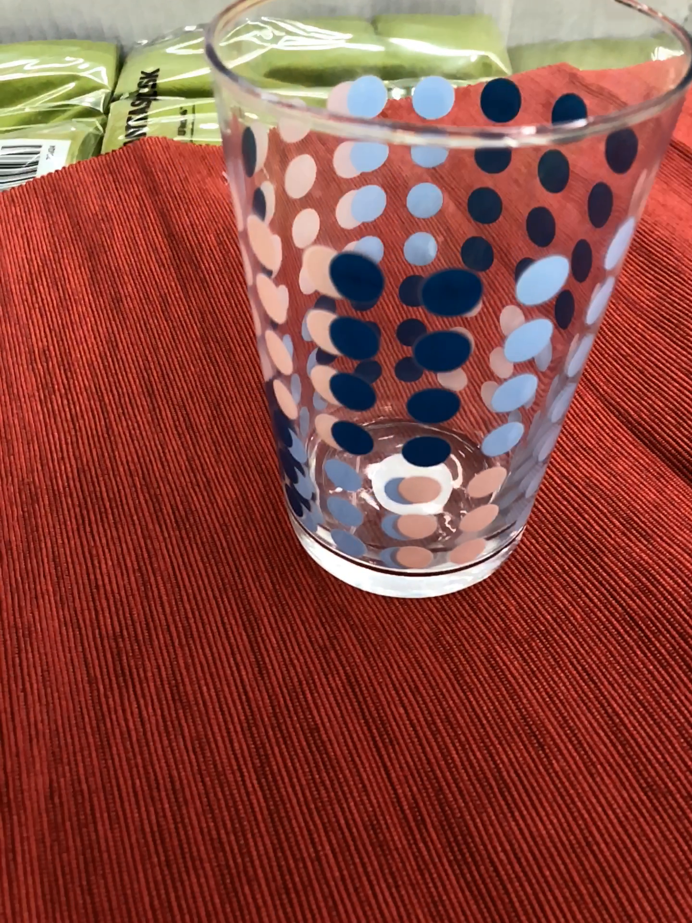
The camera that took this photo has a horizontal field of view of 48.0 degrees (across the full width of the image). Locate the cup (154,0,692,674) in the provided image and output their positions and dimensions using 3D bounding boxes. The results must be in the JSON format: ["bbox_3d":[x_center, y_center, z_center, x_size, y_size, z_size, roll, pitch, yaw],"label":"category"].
[{"bbox_3d":[0.022,-0.035,0.173,0.090,0.120,0.090,-1,46,1],"label":"cup"}]
